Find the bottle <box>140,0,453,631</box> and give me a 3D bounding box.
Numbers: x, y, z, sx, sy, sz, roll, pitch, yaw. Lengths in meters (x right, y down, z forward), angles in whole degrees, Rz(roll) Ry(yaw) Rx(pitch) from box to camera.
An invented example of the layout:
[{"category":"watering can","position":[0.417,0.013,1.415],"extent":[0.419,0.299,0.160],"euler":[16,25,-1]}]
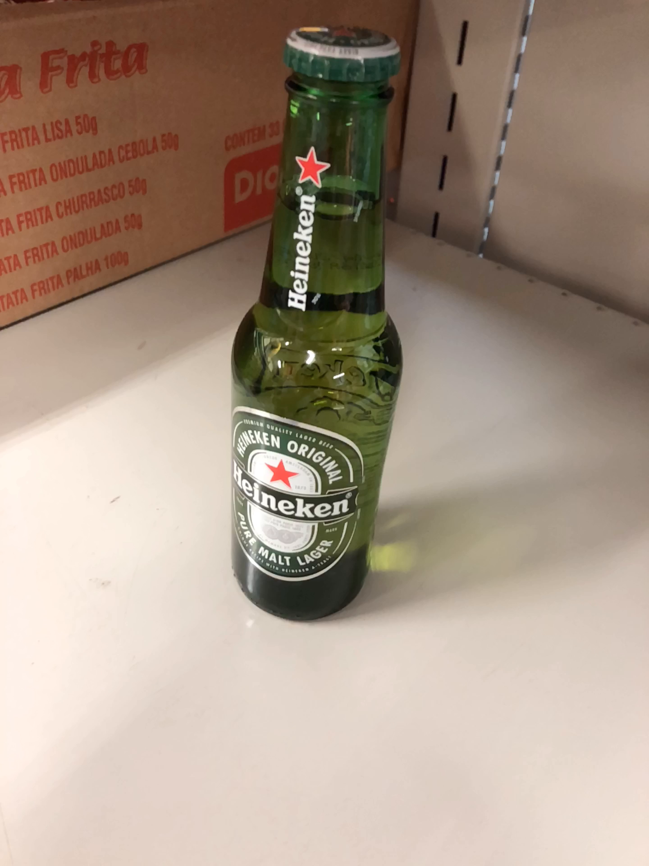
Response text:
[{"category":"bottle","position":[-0.006,-0.023,0.234],"extent":[0.060,0.199,0.060],"euler":[1,42,-1]}]
